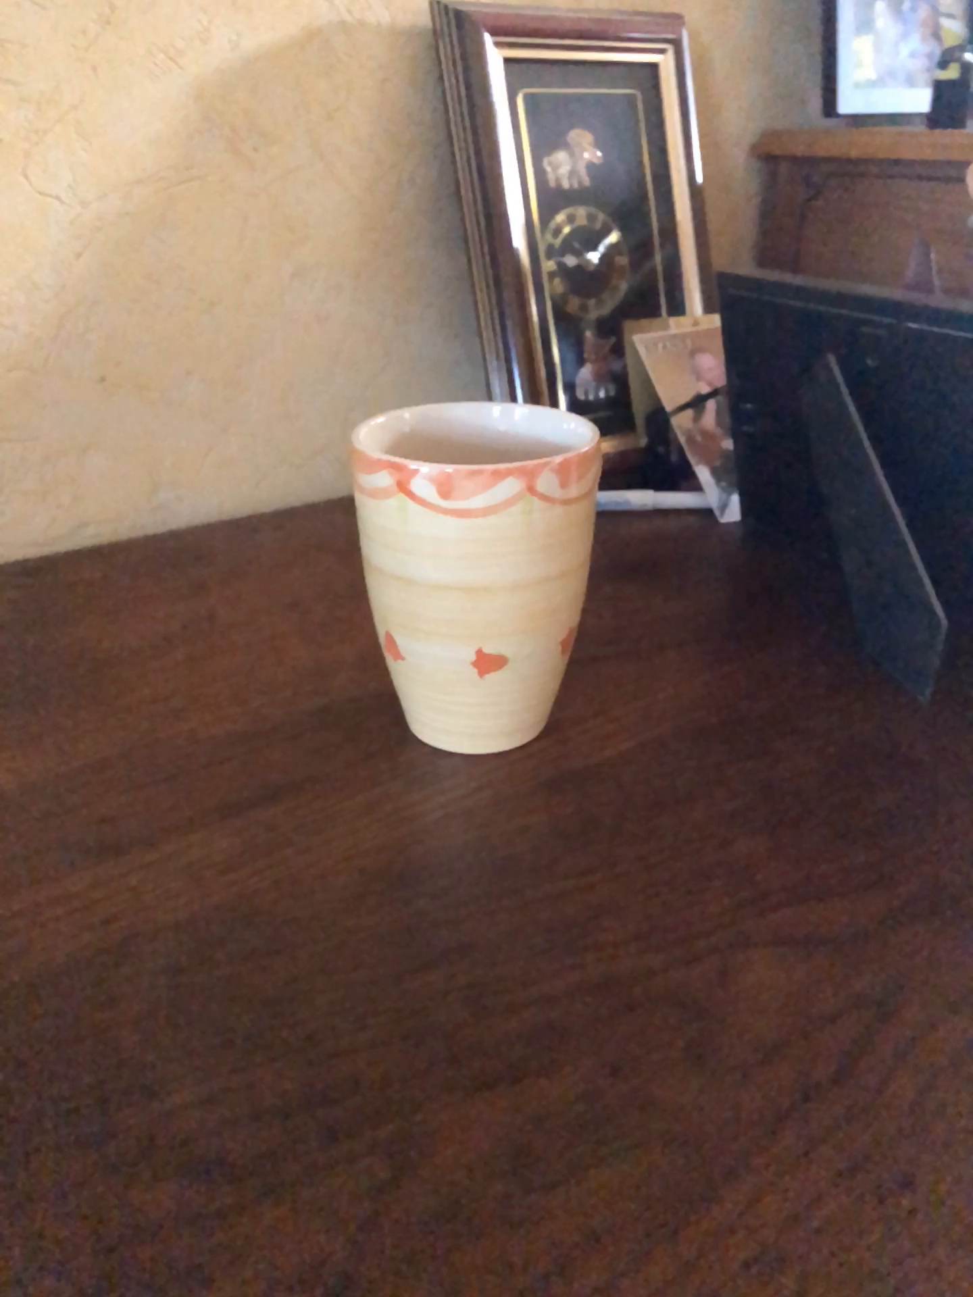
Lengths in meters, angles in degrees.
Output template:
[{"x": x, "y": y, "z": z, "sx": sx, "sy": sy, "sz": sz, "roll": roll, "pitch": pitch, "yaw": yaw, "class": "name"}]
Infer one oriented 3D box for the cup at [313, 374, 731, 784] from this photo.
[{"x": 0.017, "y": -0.035, "z": 0.401, "sx": 0.100, "sy": 0.099, "sz": 0.121, "roll": 16, "pitch": 31, "yaw": 29, "class": "cup"}]
